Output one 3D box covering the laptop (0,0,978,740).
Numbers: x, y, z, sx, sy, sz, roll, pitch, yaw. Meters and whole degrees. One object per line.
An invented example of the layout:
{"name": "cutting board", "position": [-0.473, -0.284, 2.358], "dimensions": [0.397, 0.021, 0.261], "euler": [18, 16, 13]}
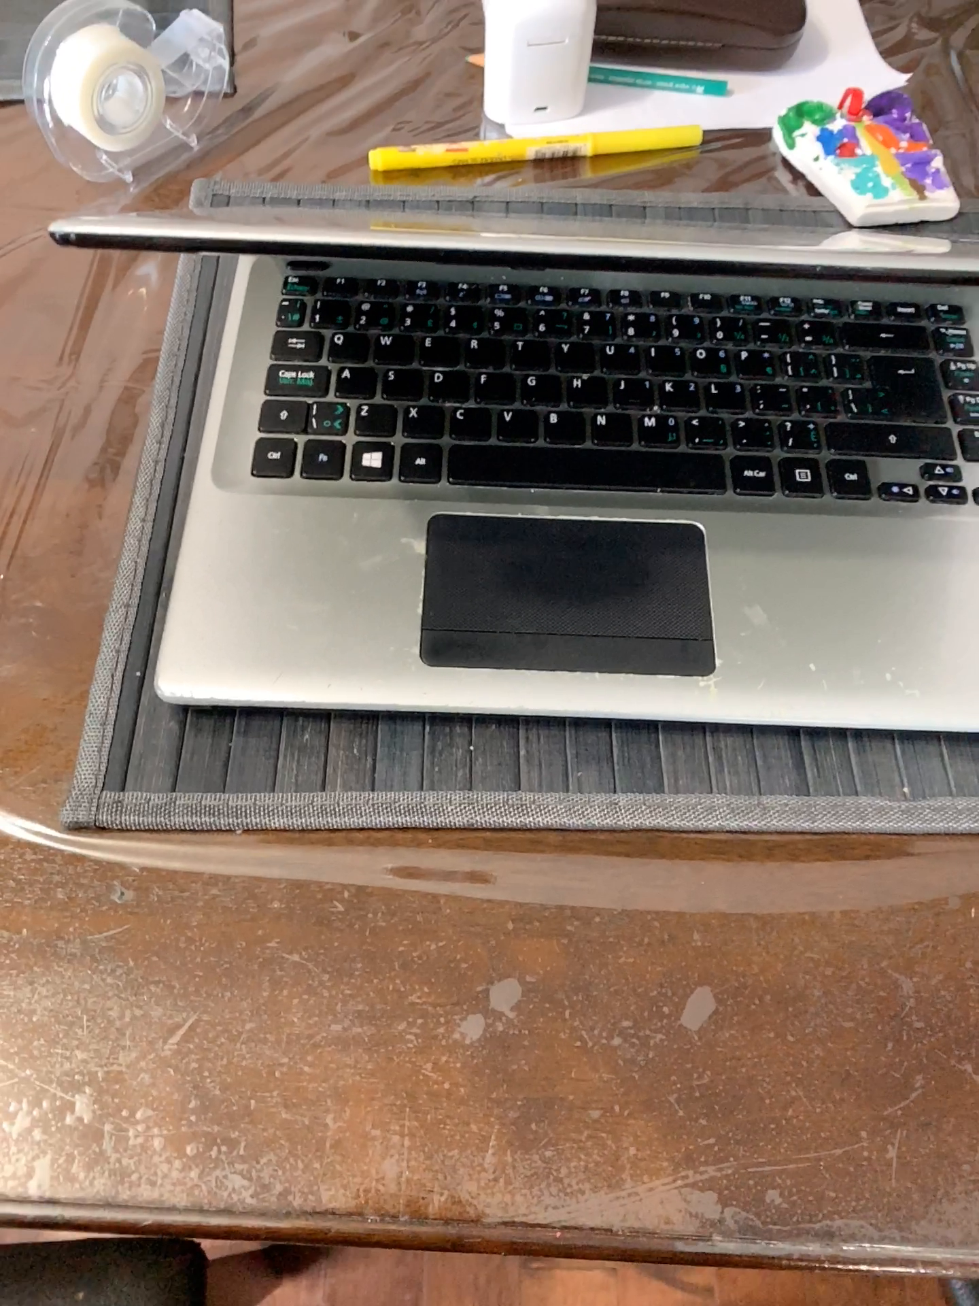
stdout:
{"name": "laptop", "position": [0.060, -0.115, 0.344], "dimensions": [0.344, 0.145, 0.236], "euler": [2, 61, -1]}
